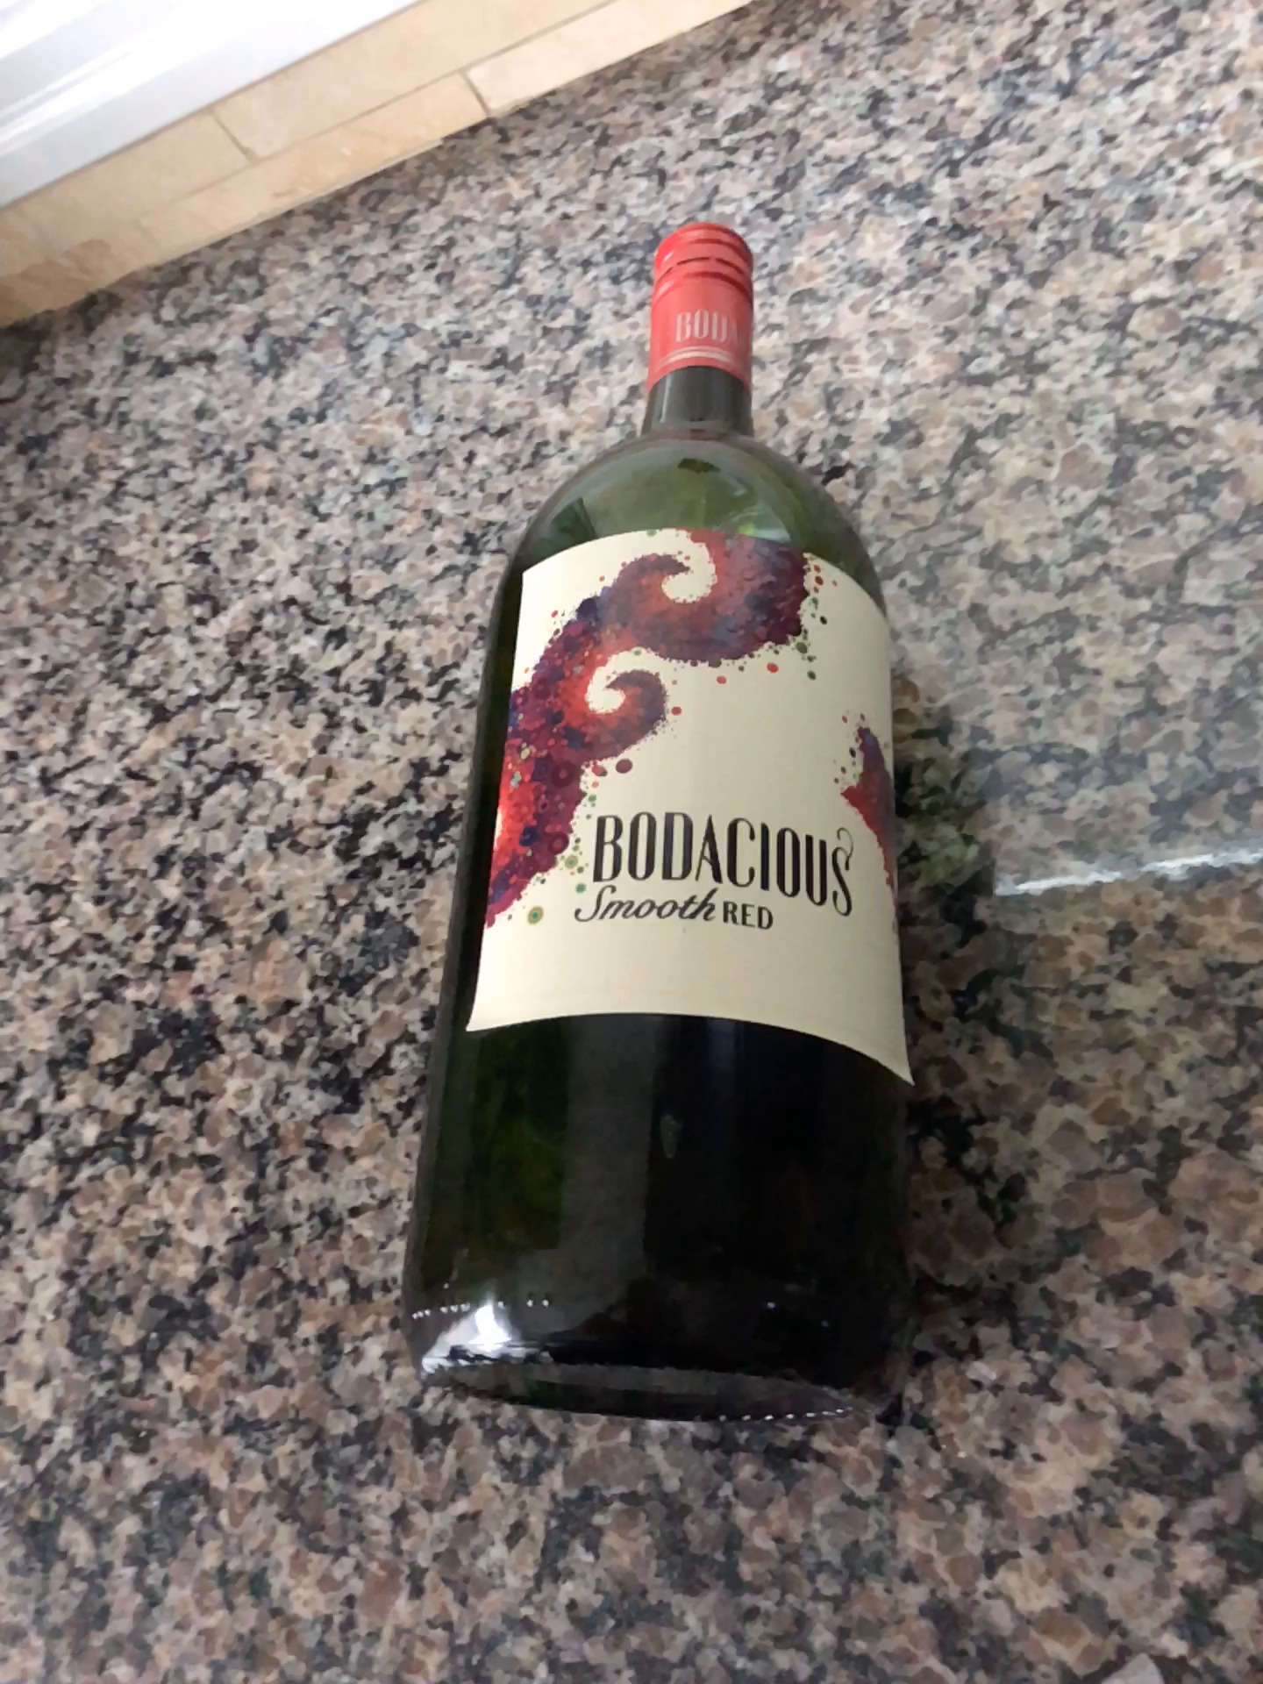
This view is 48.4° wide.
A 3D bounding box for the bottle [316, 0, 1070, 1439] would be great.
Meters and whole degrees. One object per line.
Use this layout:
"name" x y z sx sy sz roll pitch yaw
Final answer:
"bottle" 0.015 -0.044 0.348 0.100 0.110 0.340 136 144 -54
